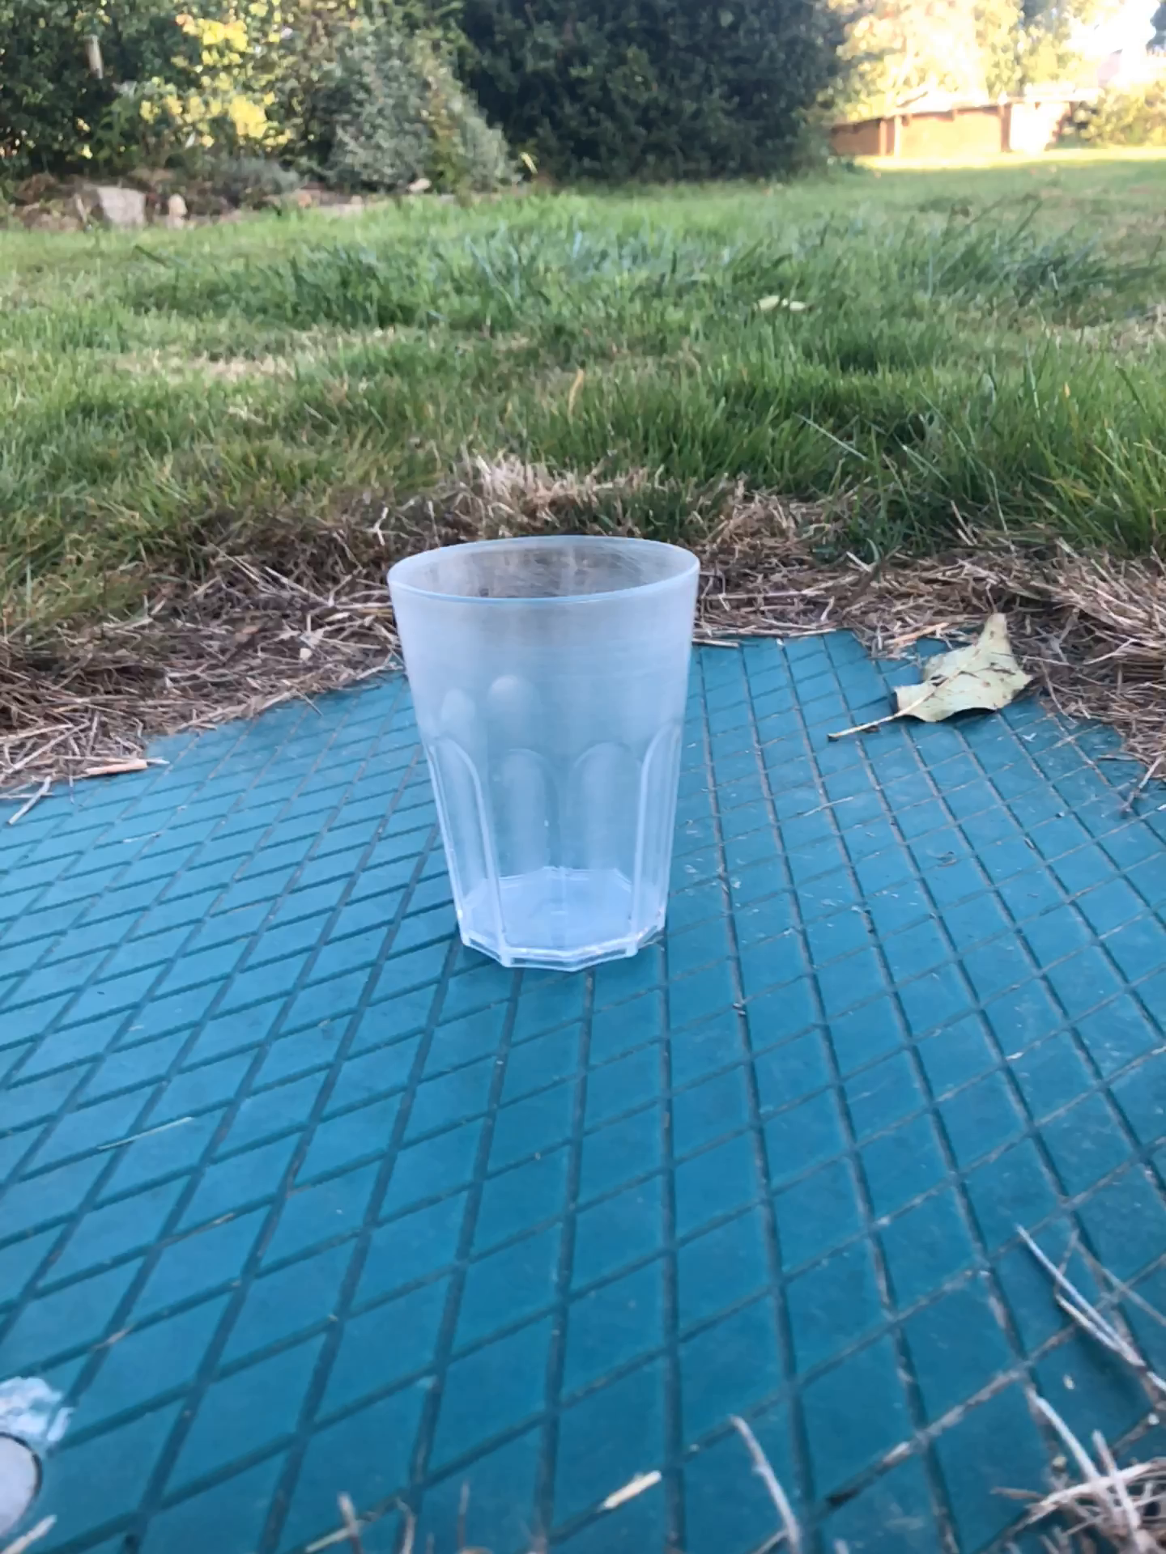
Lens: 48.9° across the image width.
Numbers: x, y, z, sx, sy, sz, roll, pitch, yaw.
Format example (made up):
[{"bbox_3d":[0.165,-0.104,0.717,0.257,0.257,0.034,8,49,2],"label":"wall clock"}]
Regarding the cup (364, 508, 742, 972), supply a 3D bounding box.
[{"bbox_3d":[-0.001,-0.015,0.383,0.091,0.113,0.088,-3,20,1],"label":"cup"}]
